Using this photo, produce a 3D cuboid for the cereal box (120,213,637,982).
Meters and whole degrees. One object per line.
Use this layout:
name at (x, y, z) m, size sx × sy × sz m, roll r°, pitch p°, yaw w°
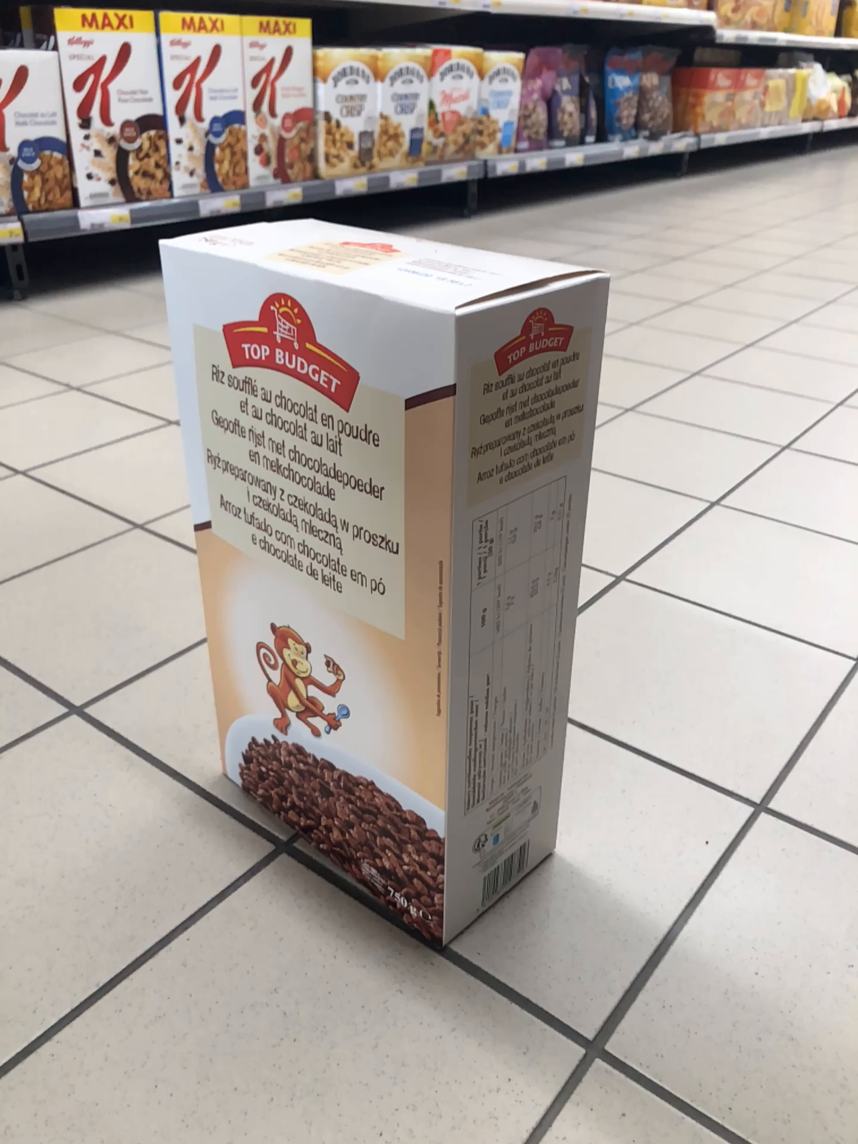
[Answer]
cereal box at (-0.033, 0.002, 0.481) m, size 0.111 × 0.318 × 0.210 m, roll -24°, pitch 37°, yaw -39°
